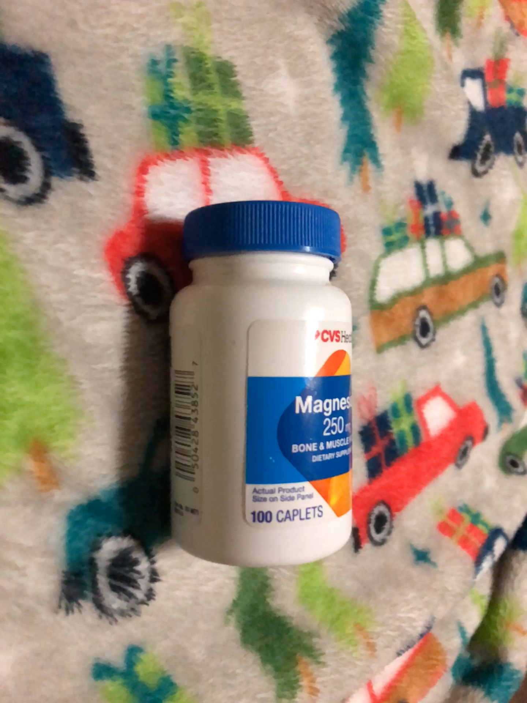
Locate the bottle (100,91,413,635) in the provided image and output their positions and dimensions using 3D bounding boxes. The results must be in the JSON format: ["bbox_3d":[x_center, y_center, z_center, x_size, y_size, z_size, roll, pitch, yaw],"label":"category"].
[{"bbox_3d":[0.000,0.002,0.149,0.060,0.050,0.100,-3,93,-51],"label":"bottle"}]
